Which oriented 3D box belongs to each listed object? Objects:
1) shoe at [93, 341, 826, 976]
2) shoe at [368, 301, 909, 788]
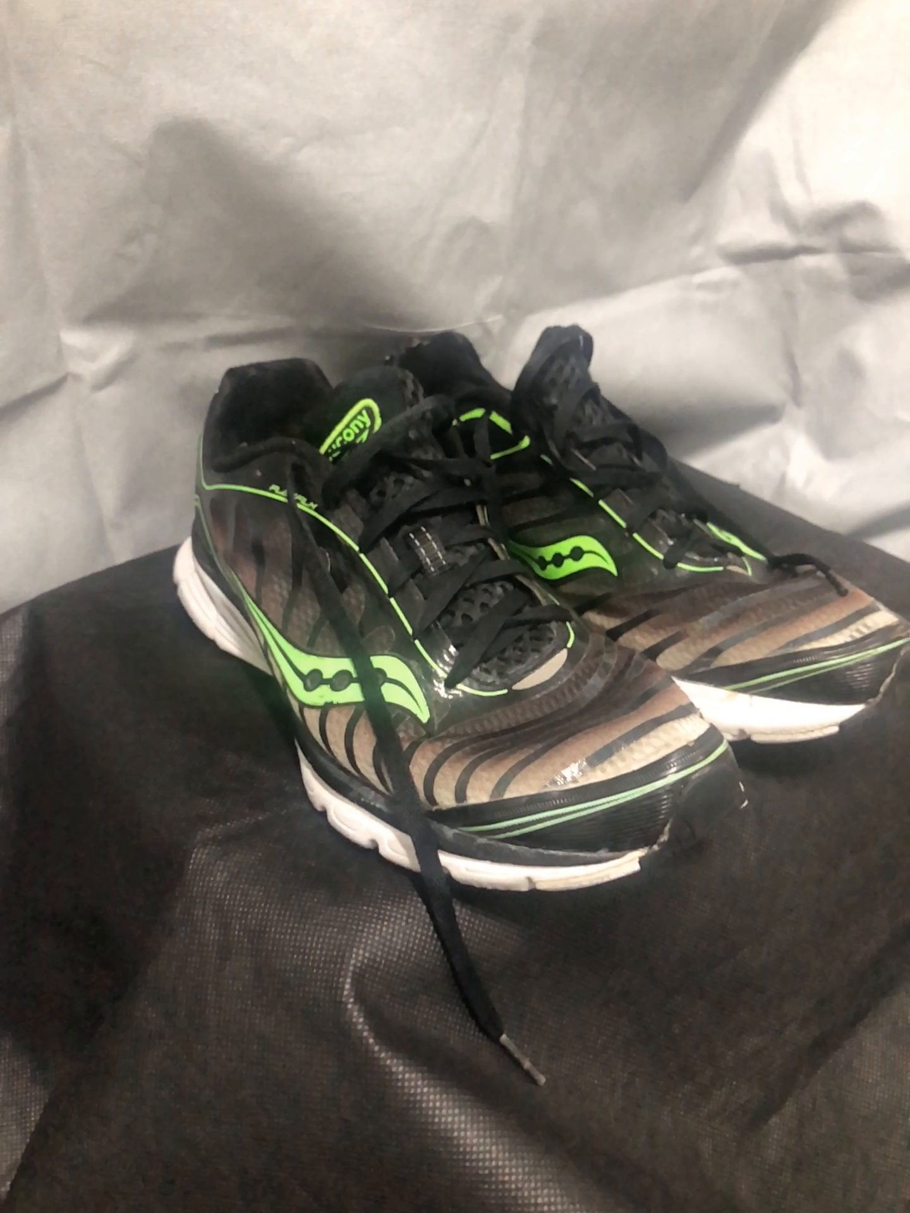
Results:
[{"bbox_3d":[-0.016,-0.010,0.340,0.117,0.096,0.225,-20,35,-34],"label":"shoe"},{"bbox_3d":[0.077,-0.046,0.403,0.114,0.097,0.225,-20,35,-34],"label":"shoe"}]
